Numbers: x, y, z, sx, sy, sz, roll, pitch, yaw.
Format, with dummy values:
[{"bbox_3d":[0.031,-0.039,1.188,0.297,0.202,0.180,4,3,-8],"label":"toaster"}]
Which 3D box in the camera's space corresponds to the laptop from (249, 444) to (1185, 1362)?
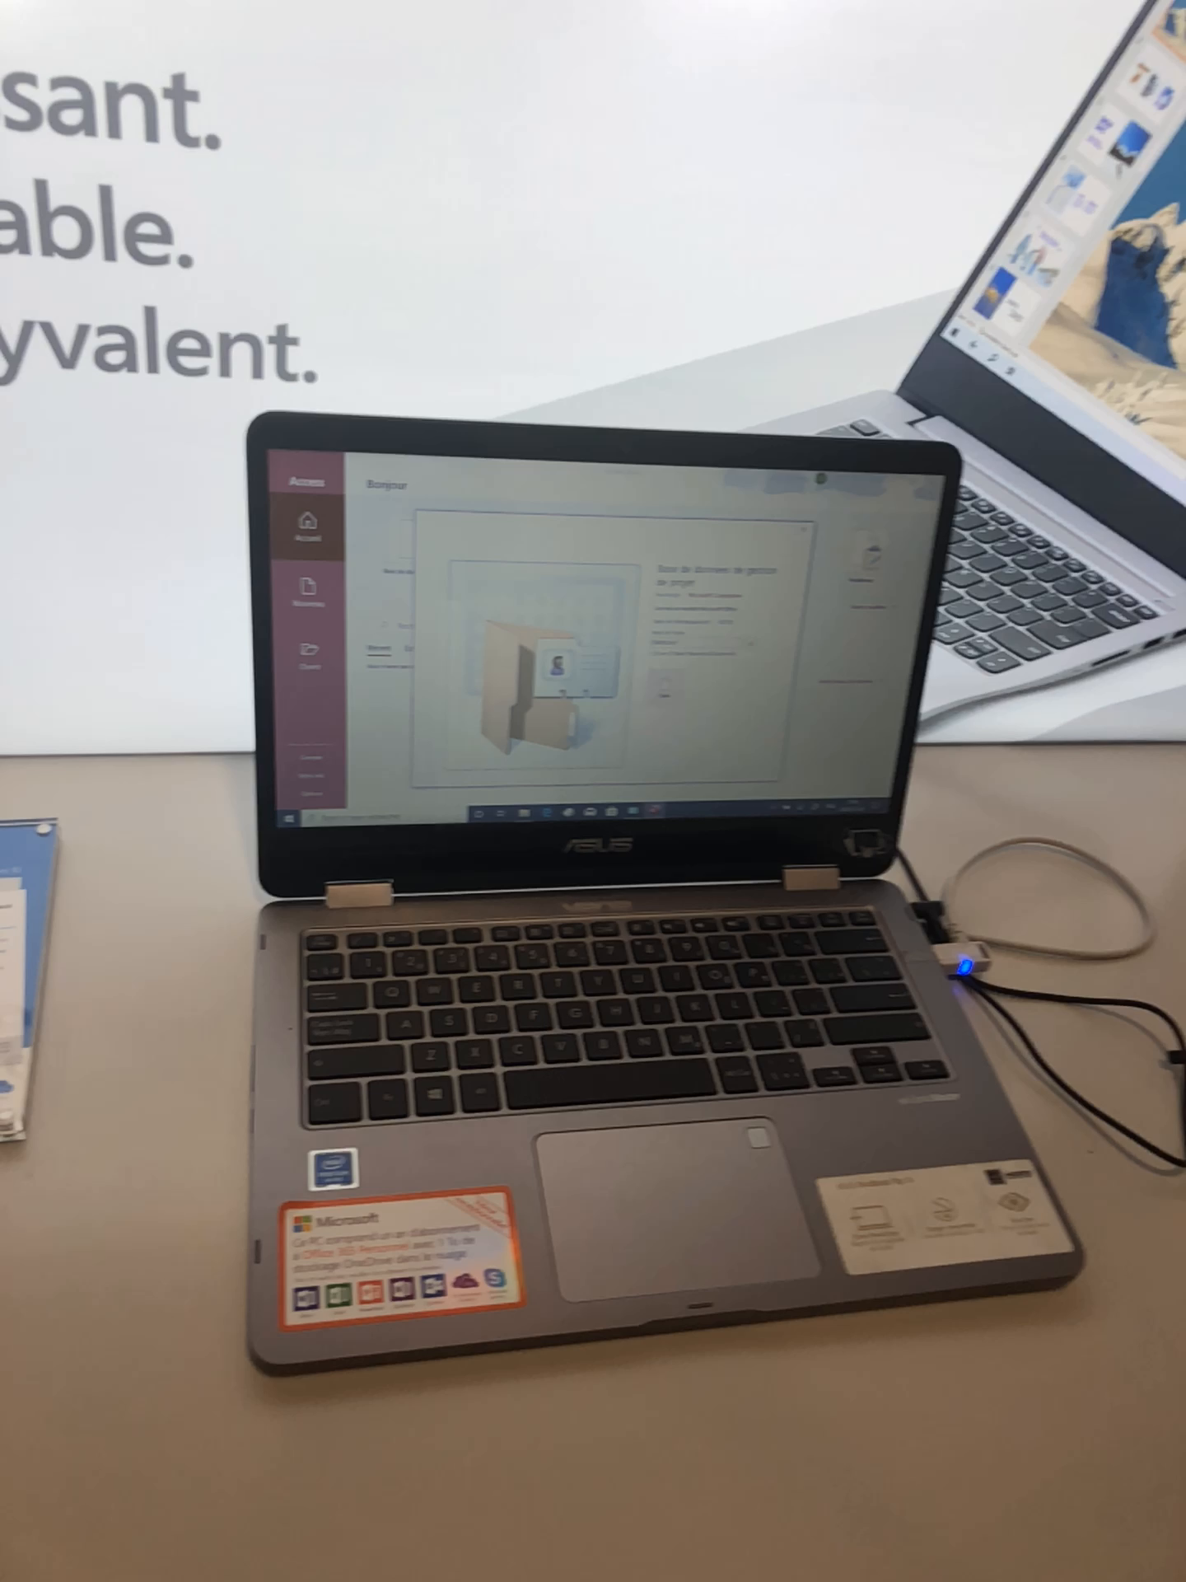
[{"bbox_3d":[0.031,0.023,0.519,0.311,0.214,0.273,-1,38,-13],"label":"laptop"}]
